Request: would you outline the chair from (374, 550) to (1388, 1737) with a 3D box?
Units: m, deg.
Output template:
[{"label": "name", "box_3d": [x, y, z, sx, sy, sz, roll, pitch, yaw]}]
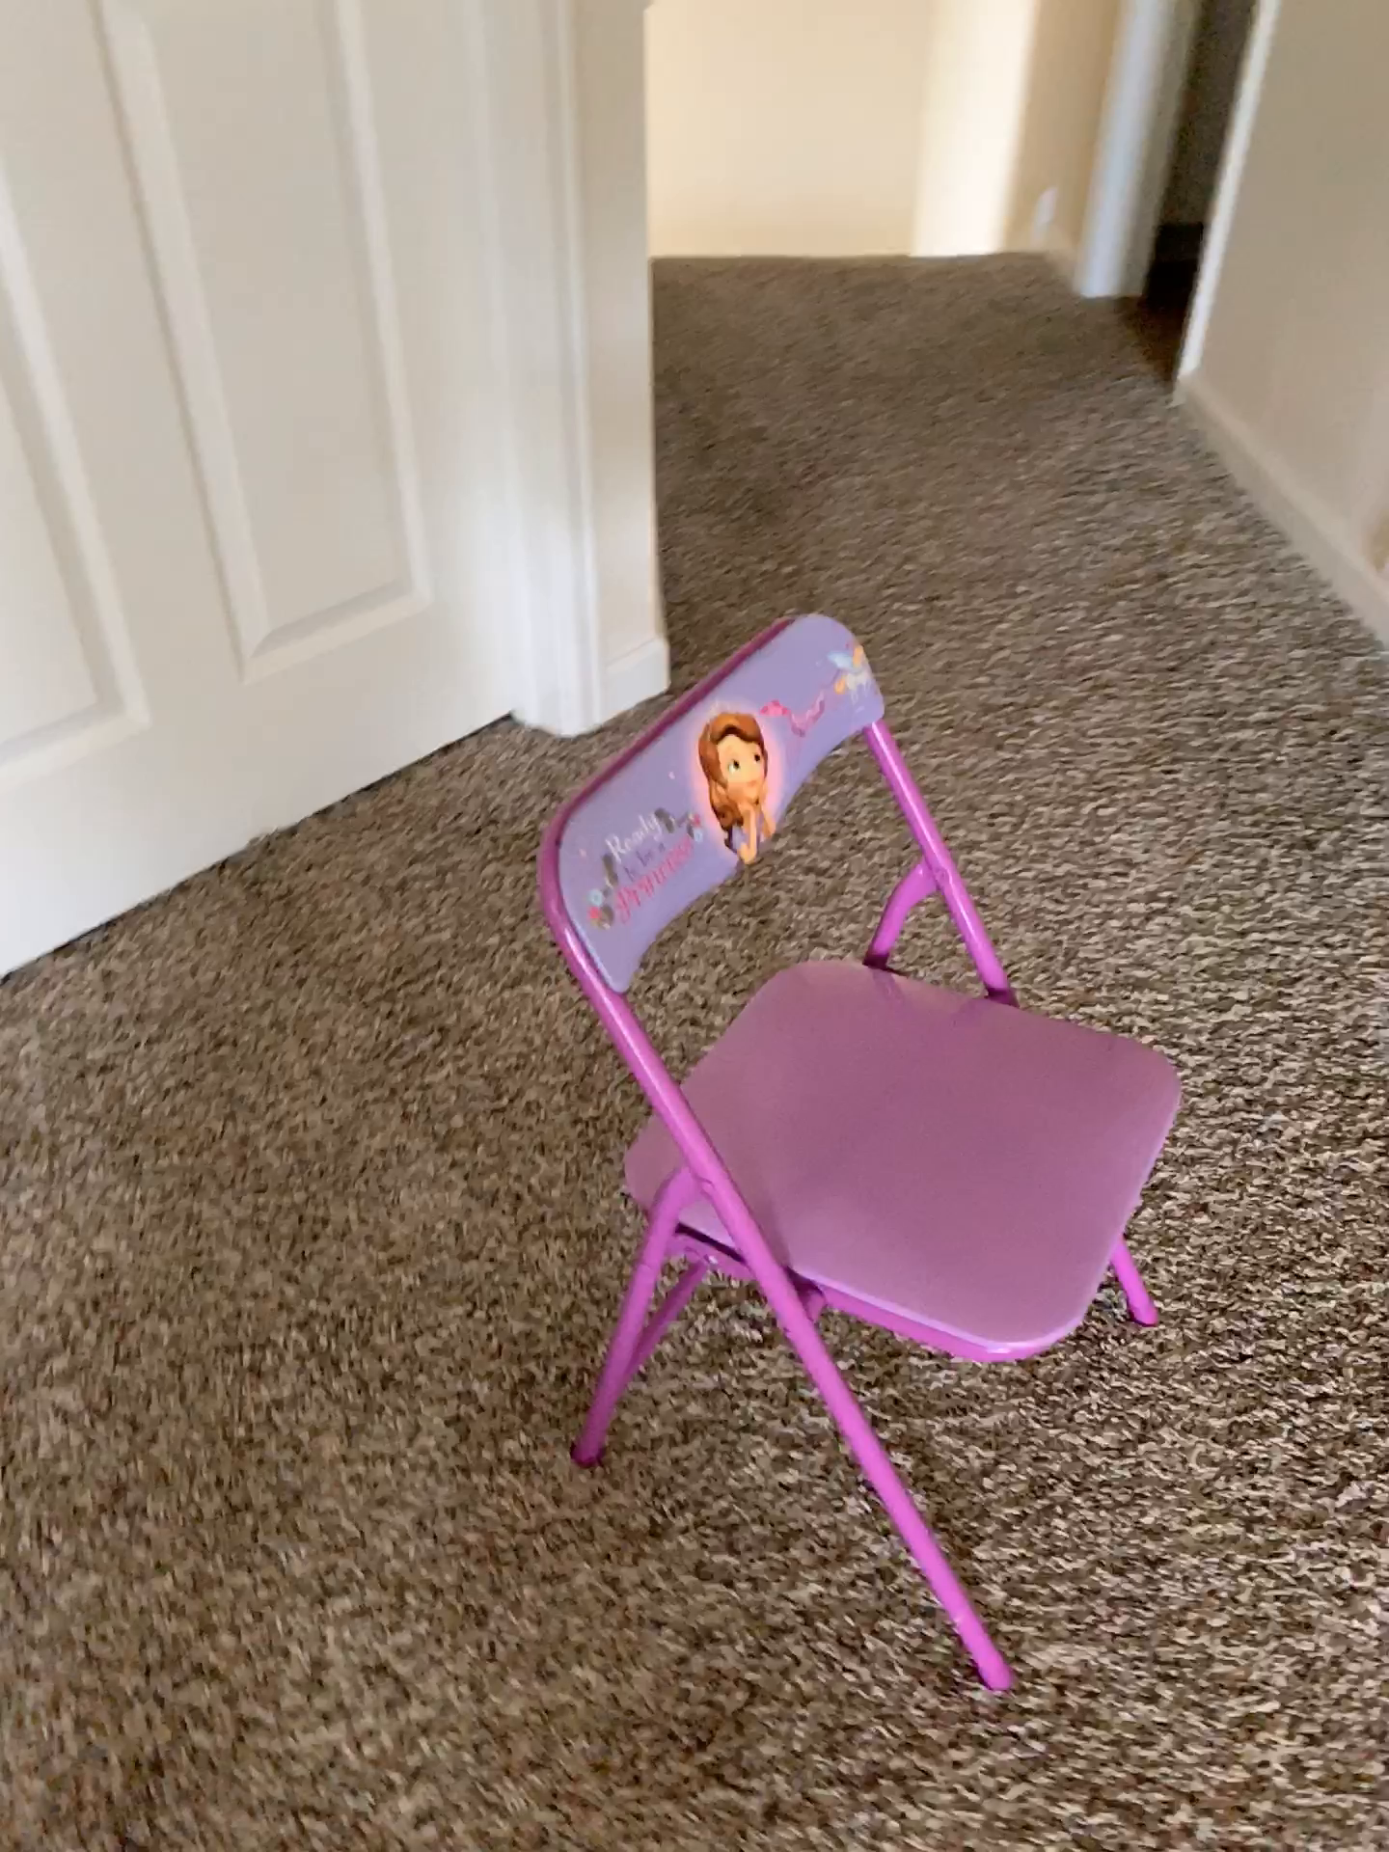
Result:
[{"label": "chair", "box_3d": [0.116, 0.108, 0.852, 0.390, 0.468, 0.381, 20, 43, 22]}]
